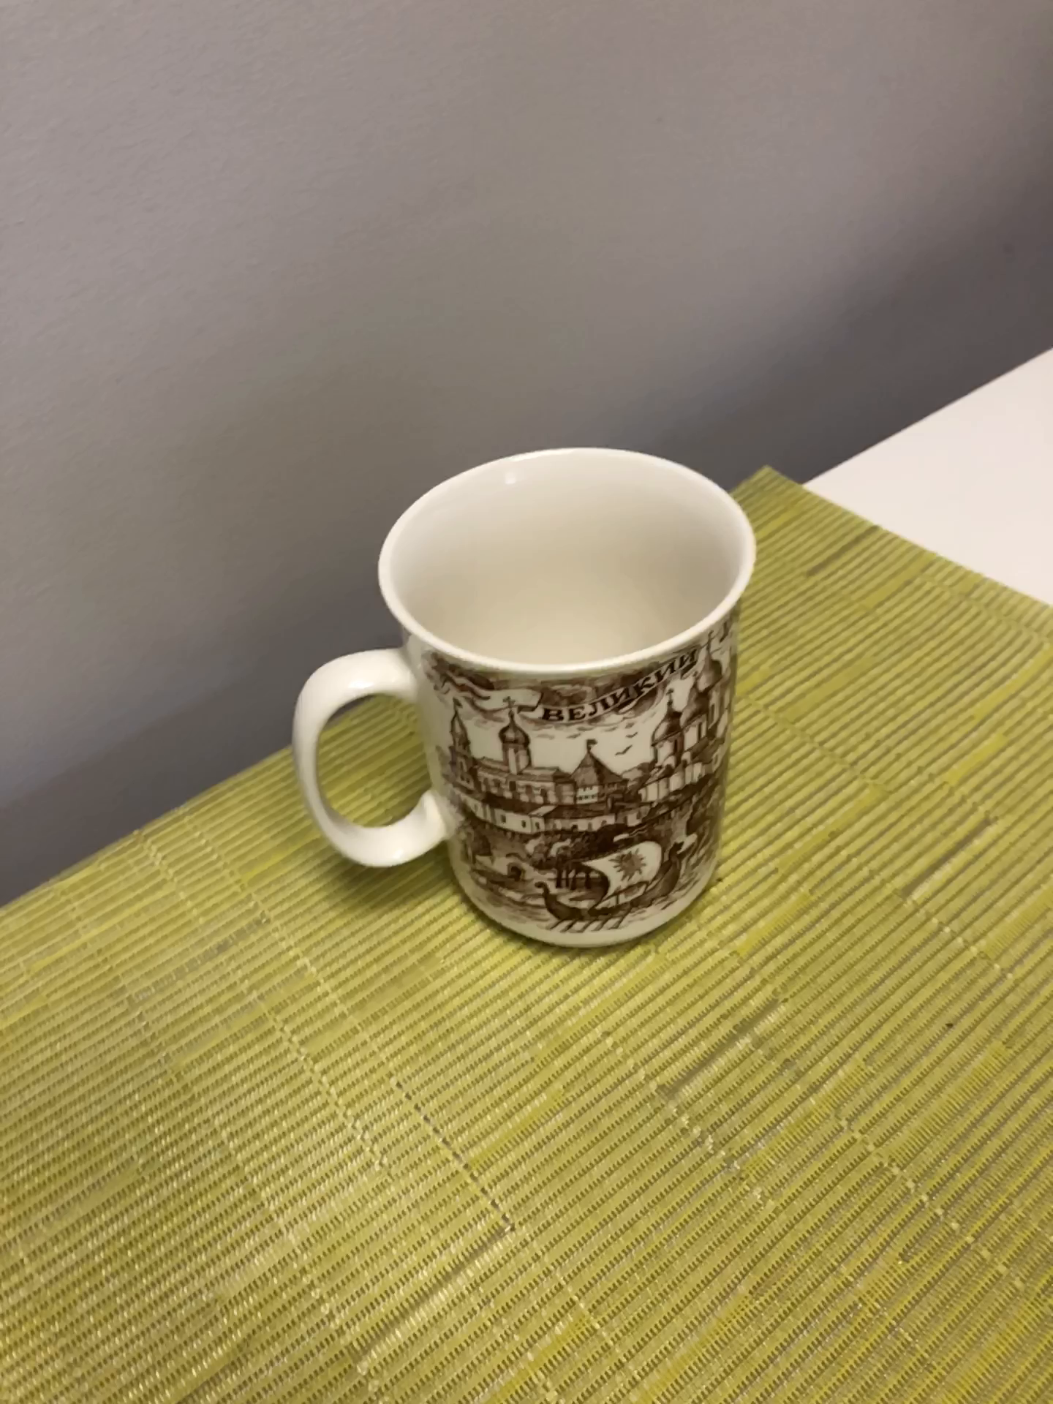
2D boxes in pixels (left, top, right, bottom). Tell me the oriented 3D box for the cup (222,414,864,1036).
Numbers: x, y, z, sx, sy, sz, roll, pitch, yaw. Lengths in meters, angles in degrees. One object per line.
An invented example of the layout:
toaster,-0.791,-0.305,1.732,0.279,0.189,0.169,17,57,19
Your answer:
cup,0.000,0.003,0.294,0.124,0.092,0.095,-13,43,-8
